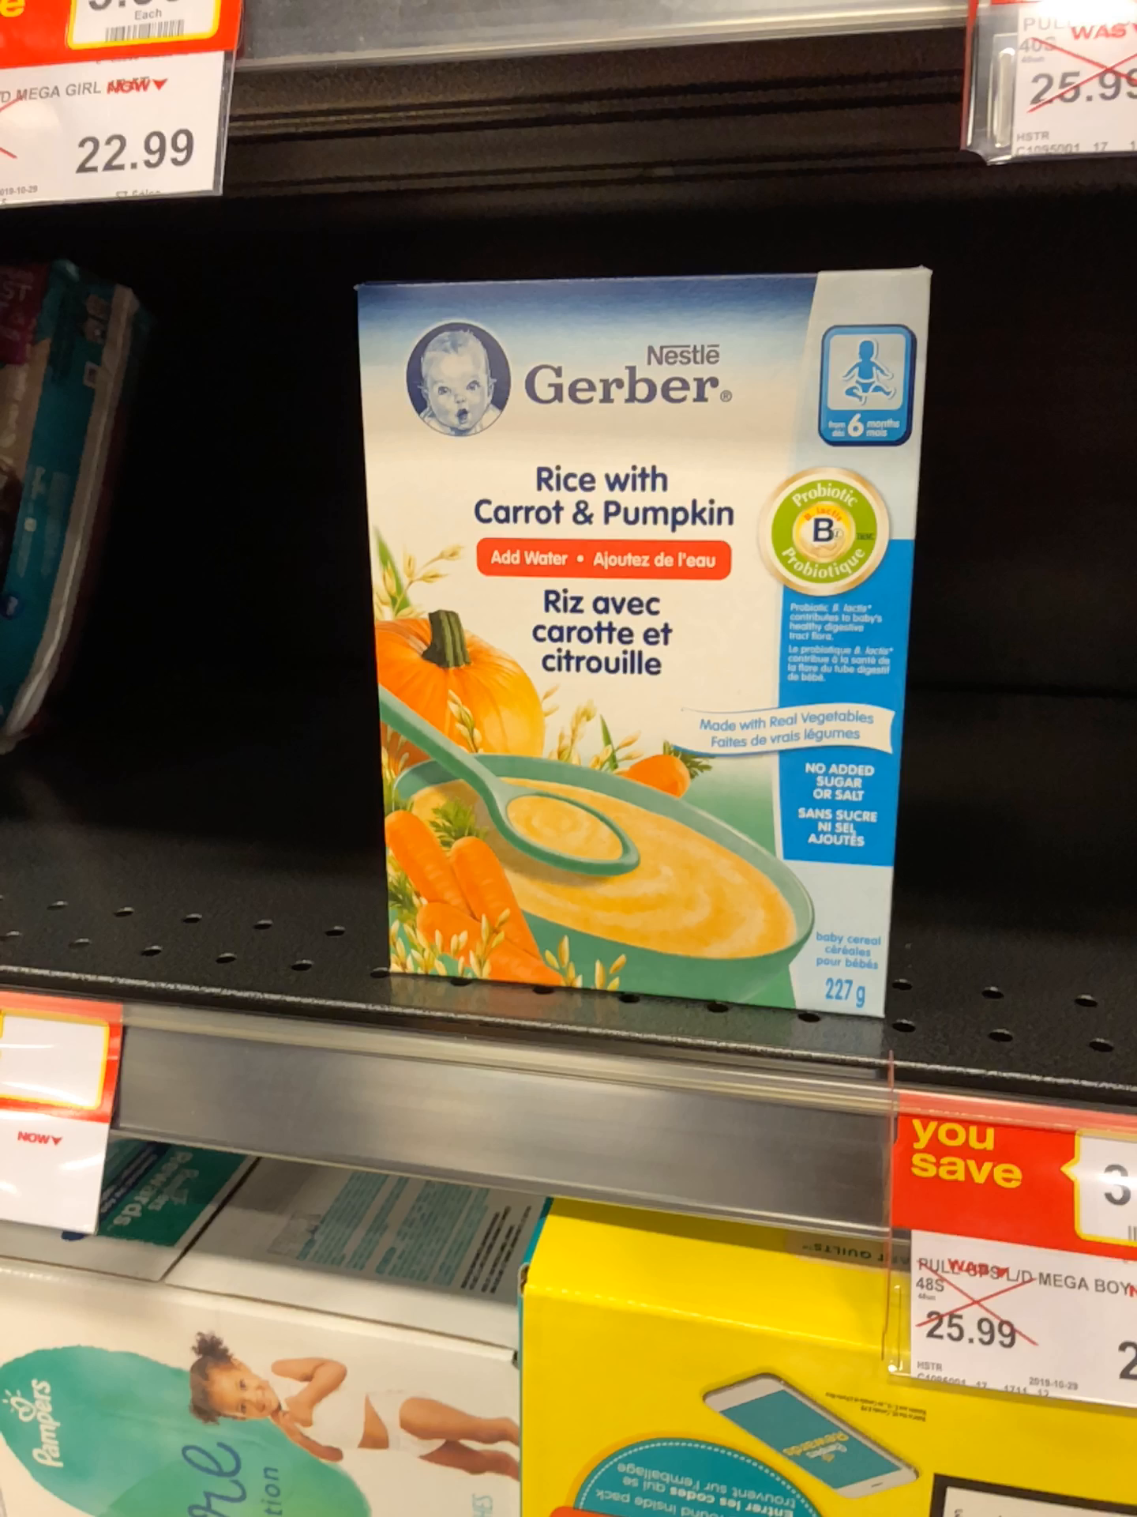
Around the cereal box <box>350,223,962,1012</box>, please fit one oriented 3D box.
[{"bbox_3d":[0.023,-0.036,0.353,0.150,0.199,0.040,3,16,12],"label":"cereal box"}]
